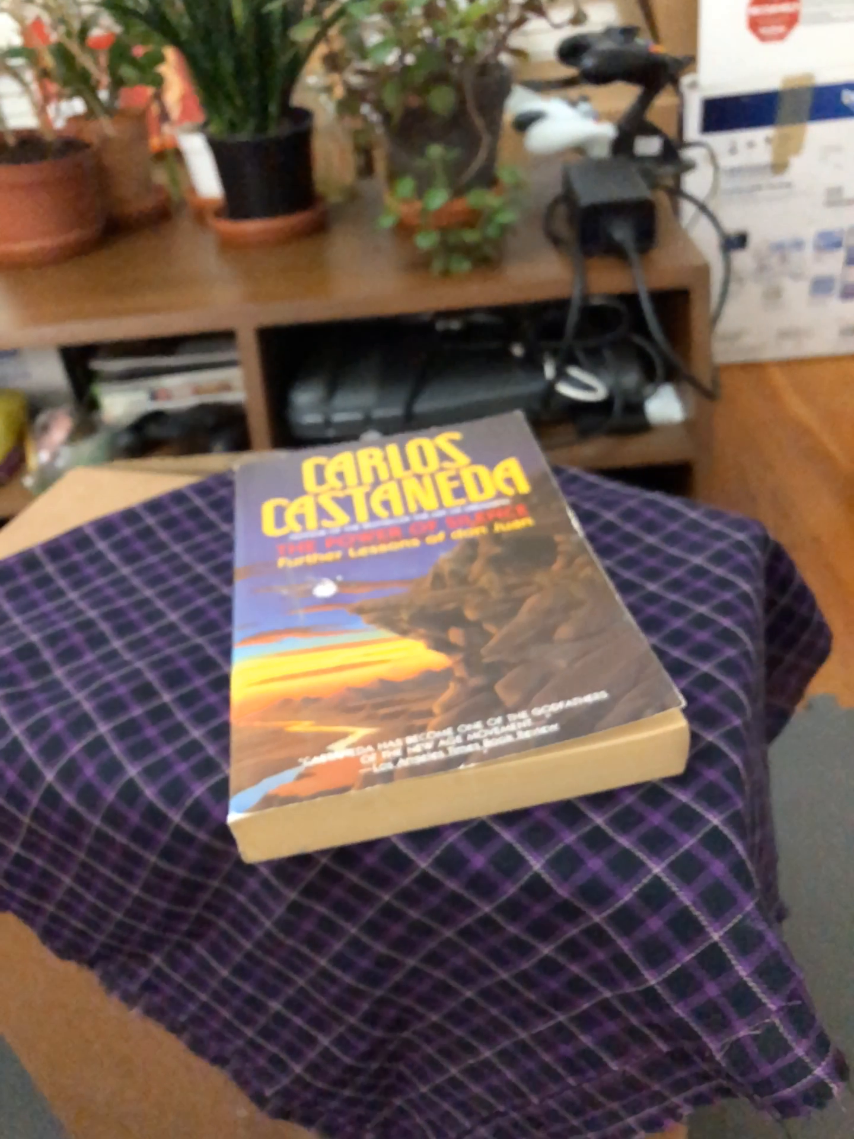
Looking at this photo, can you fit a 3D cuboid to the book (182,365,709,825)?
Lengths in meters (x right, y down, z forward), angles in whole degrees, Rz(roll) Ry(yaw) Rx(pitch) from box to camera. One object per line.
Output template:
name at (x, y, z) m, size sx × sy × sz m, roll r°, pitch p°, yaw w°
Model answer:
book at (-0.008, -0.011, 0.363) m, size 0.150 × 0.020 × 0.221 m, roll -10°, pitch 36°, yaw -3°
